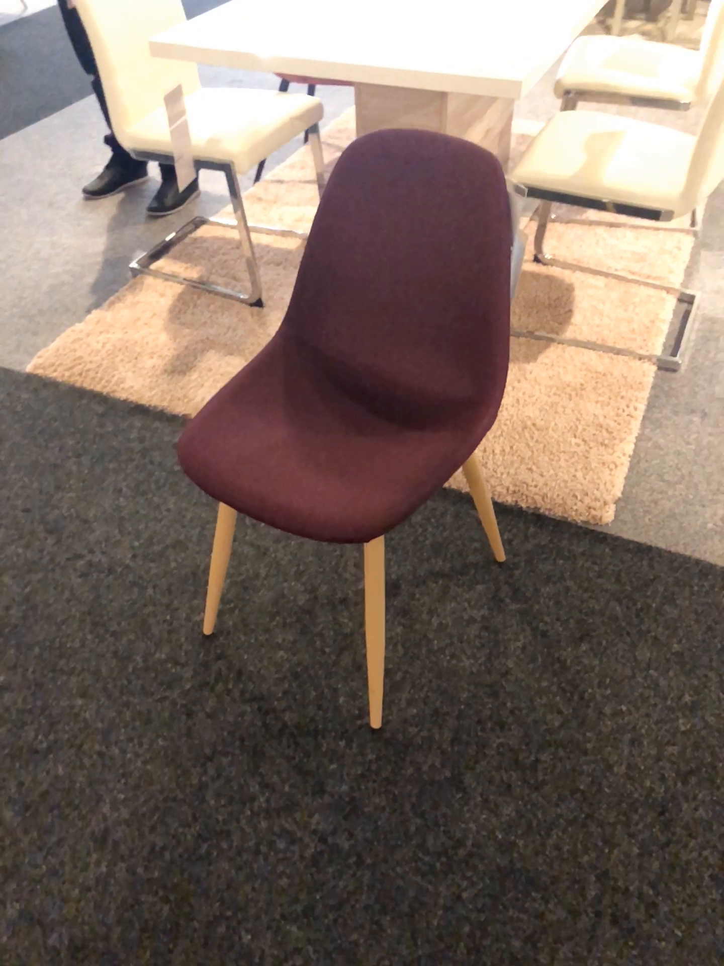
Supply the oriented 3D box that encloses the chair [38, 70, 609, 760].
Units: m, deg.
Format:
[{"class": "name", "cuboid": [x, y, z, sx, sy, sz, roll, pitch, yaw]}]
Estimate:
[{"class": "chair", "cuboid": [-0.007, -0.109, 1.243, 0.470, 0.795, 0.573, 21, 47, 23]}]
